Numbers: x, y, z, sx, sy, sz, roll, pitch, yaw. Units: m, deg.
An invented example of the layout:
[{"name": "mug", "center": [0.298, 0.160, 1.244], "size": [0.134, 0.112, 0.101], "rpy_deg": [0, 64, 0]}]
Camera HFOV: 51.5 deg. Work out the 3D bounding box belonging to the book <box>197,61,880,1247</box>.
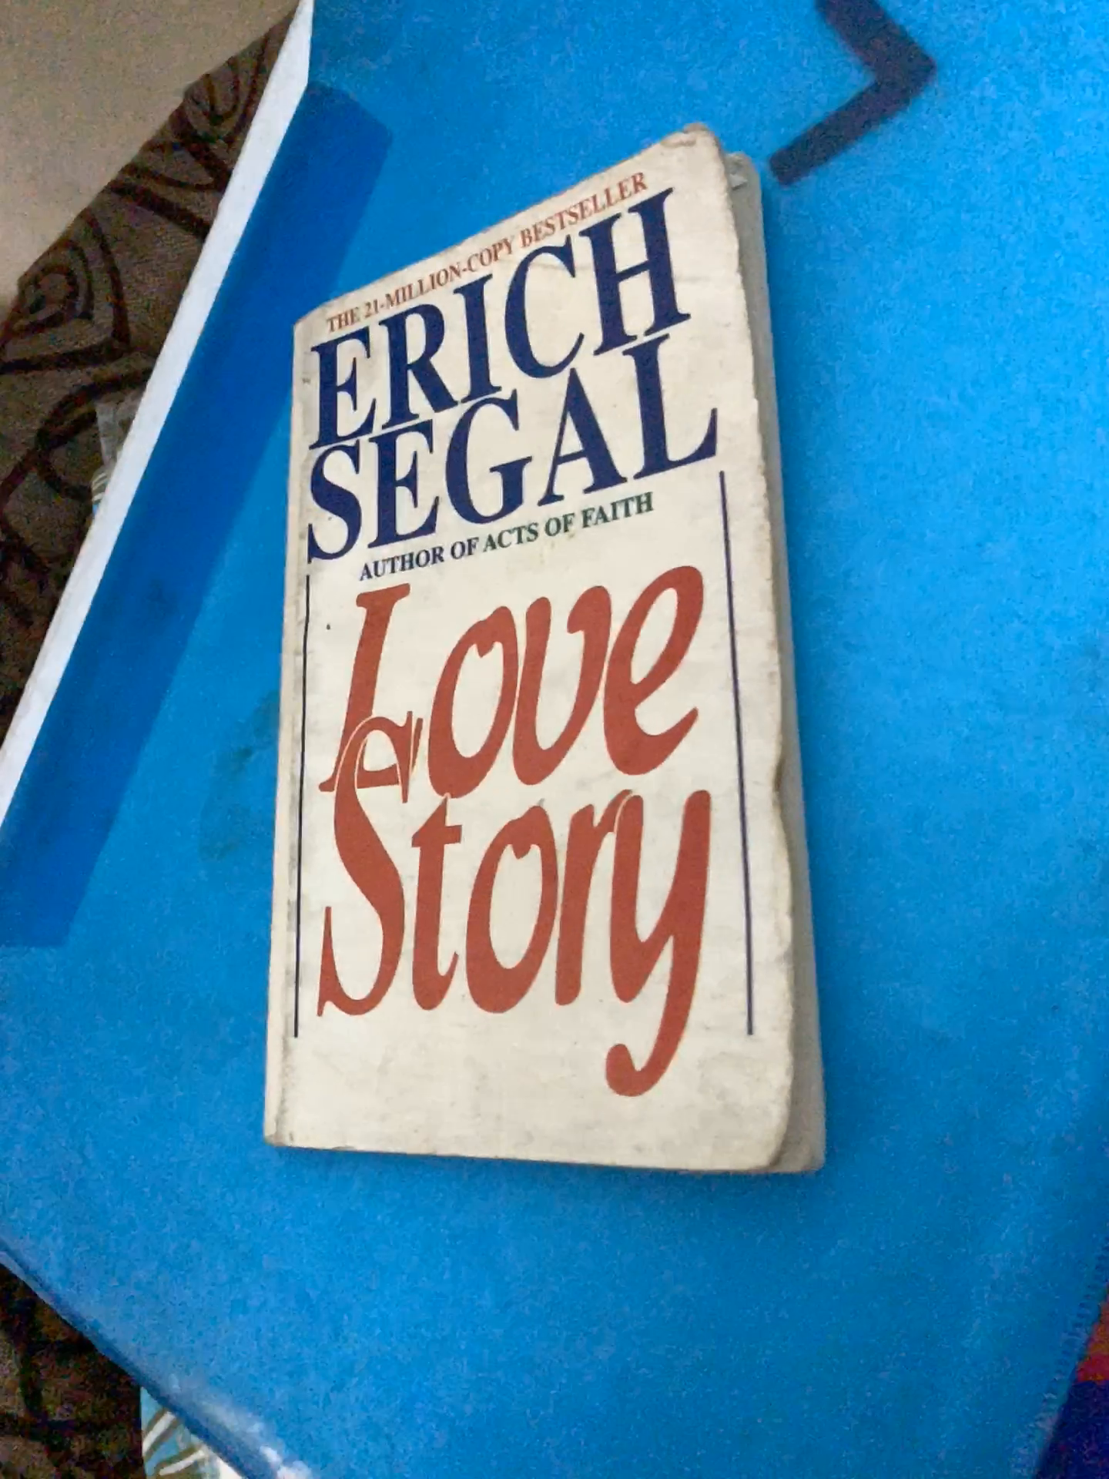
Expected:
[{"name": "book", "center": [-0.009, -0.015, 0.200], "size": [0.110, 0.020, 0.180], "rpy_deg": [-8, 75, 26]}]
